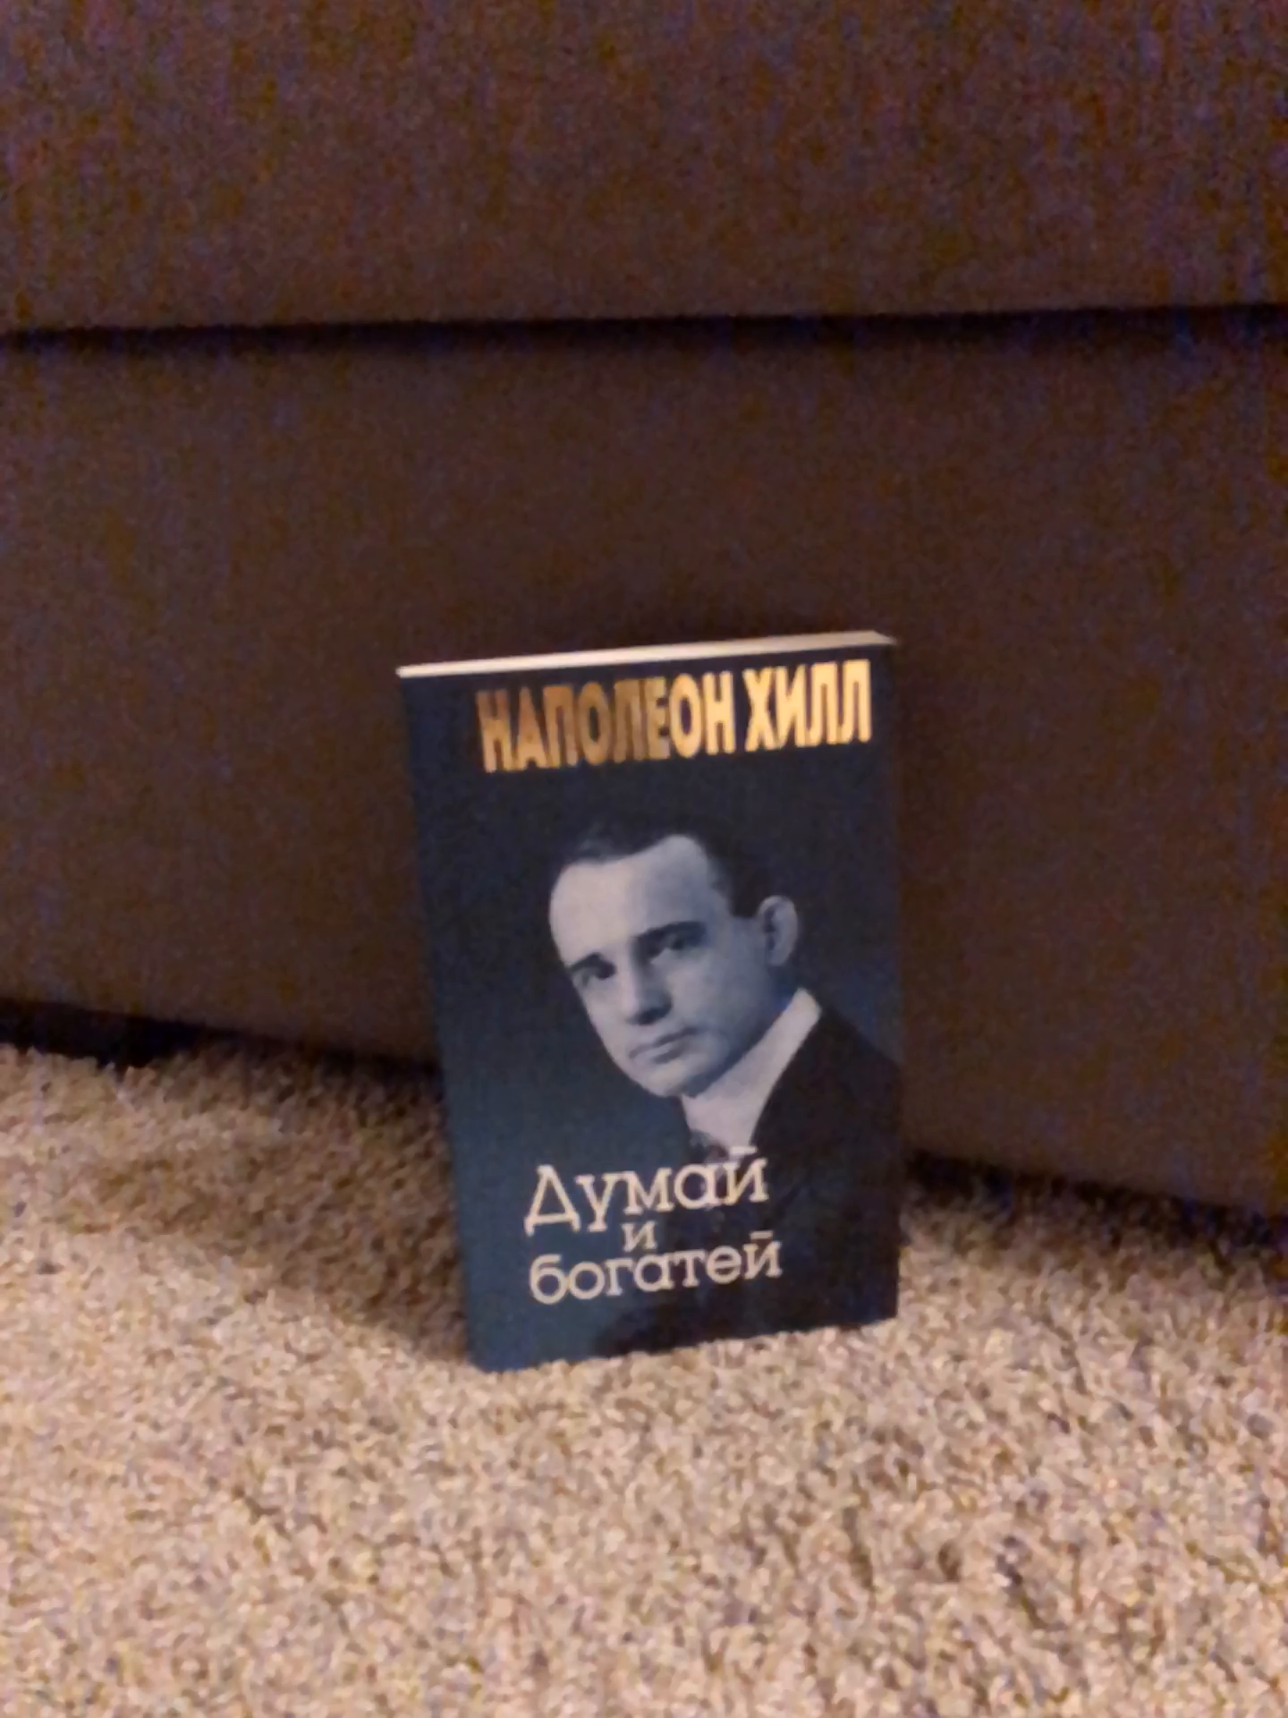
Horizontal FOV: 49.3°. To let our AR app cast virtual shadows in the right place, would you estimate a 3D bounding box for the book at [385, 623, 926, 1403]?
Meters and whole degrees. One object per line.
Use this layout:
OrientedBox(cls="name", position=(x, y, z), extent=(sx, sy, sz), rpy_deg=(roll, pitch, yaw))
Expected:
OrientedBox(cls="book", position=(0.006, 0.042, 0.377), extent=(0.132, 0.198, 0.030), rpy_deg=(-5, 15, -8))
